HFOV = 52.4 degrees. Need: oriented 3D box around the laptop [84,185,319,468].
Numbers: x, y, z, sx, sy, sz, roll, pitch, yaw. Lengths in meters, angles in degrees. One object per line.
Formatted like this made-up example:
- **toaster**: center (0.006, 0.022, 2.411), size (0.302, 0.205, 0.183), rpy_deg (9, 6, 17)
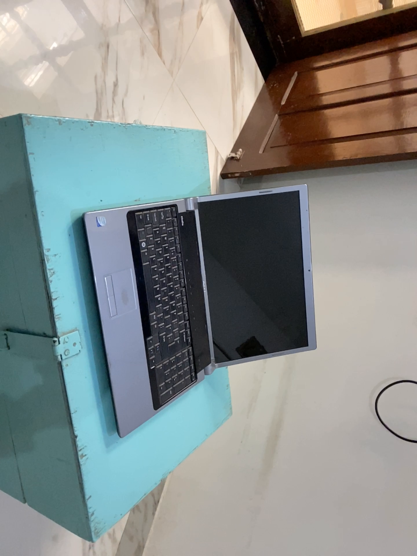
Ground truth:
- **laptop**: center (0.037, 0.038, 0.841), size (0.480, 0.178, 0.389), rpy_deg (-23, 111, -52)
